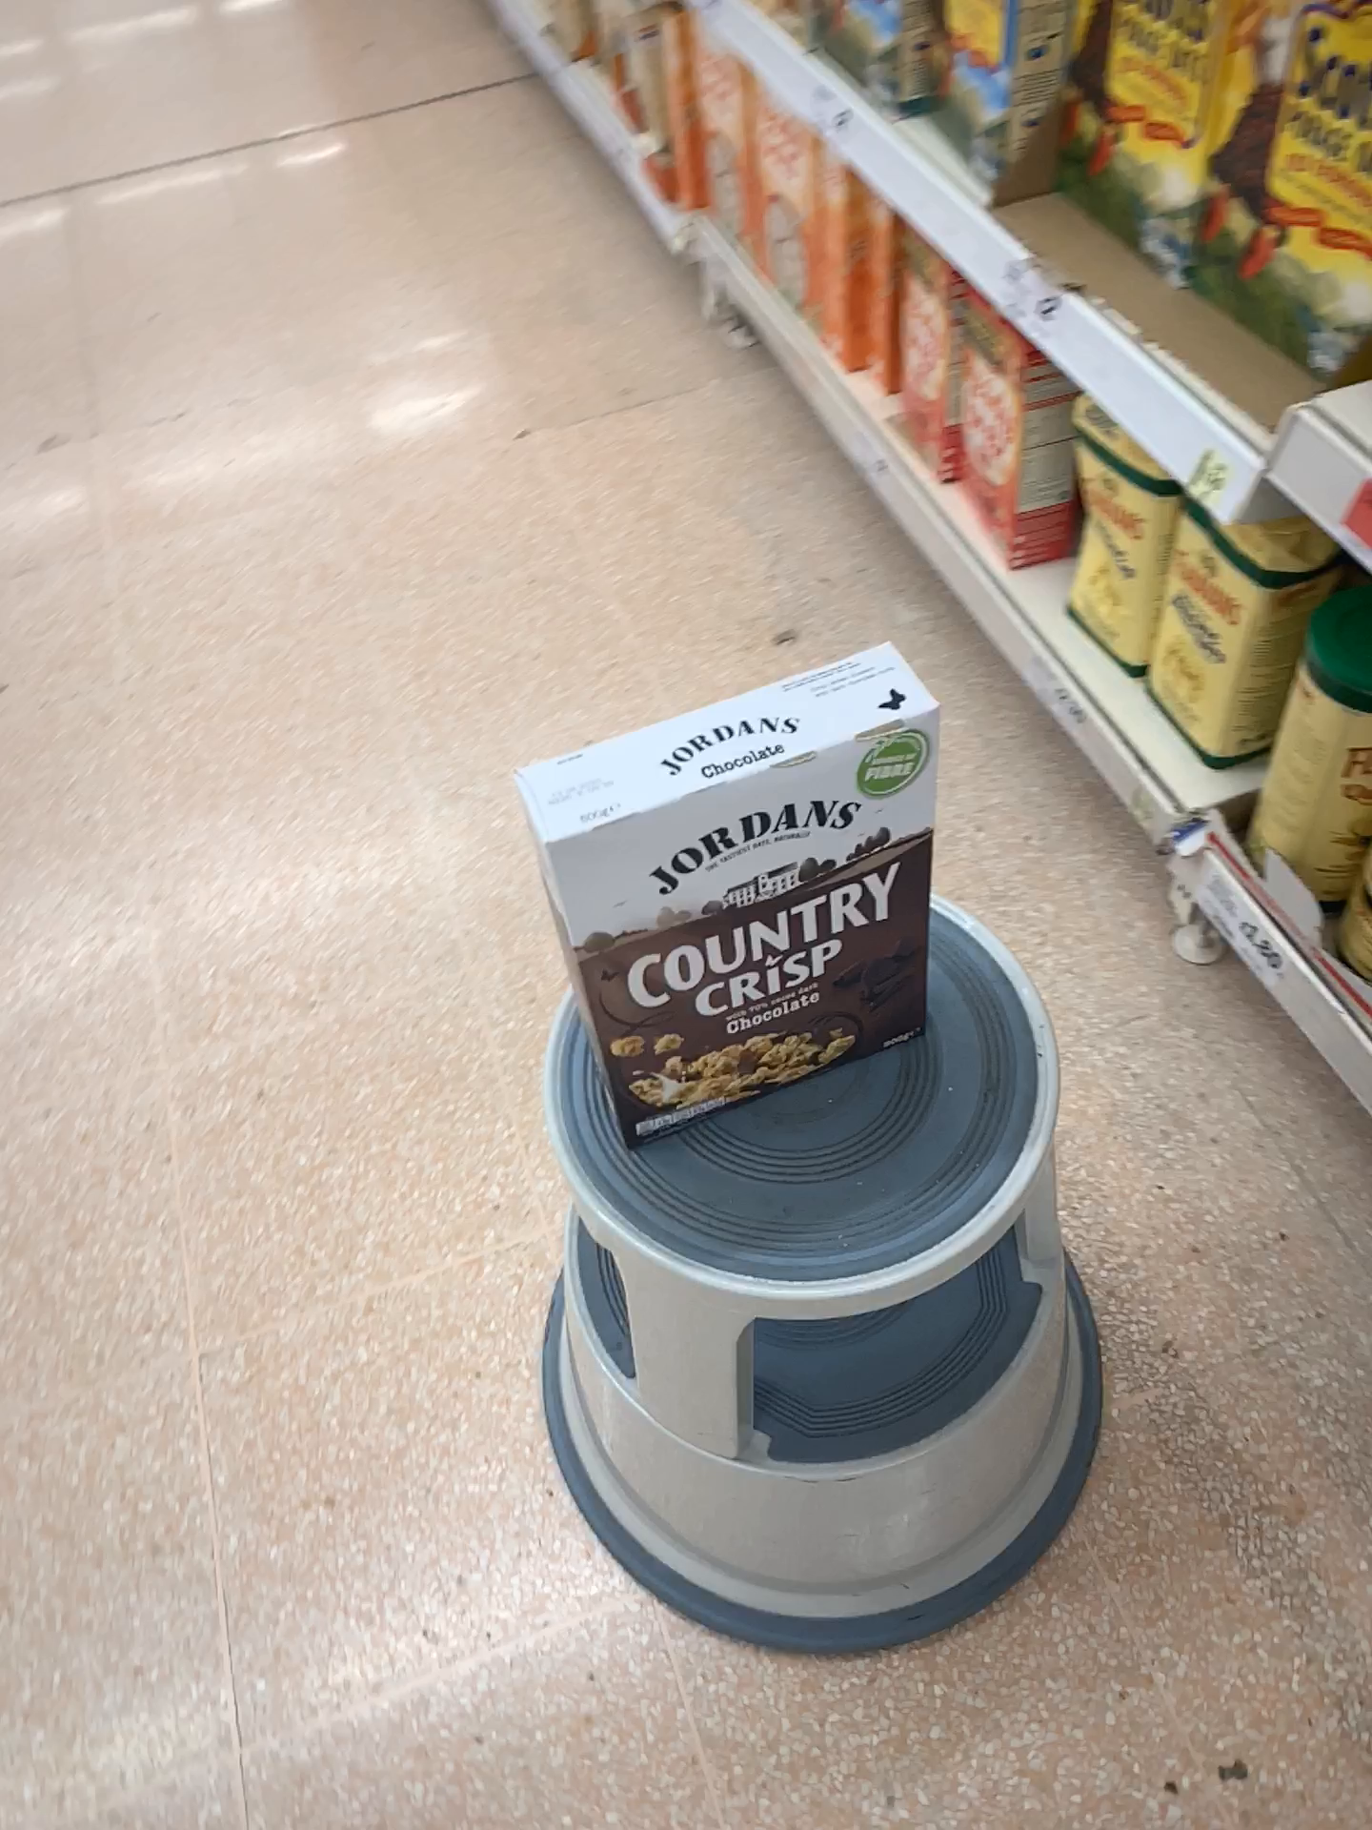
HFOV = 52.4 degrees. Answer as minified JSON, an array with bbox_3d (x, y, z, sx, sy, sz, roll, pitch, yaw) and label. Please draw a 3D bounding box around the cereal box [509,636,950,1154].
[{"bbox_3d":[0.029,0.003,0.682,0.180,0.248,0.050,-20,52,-9],"label":"cereal box"}]
